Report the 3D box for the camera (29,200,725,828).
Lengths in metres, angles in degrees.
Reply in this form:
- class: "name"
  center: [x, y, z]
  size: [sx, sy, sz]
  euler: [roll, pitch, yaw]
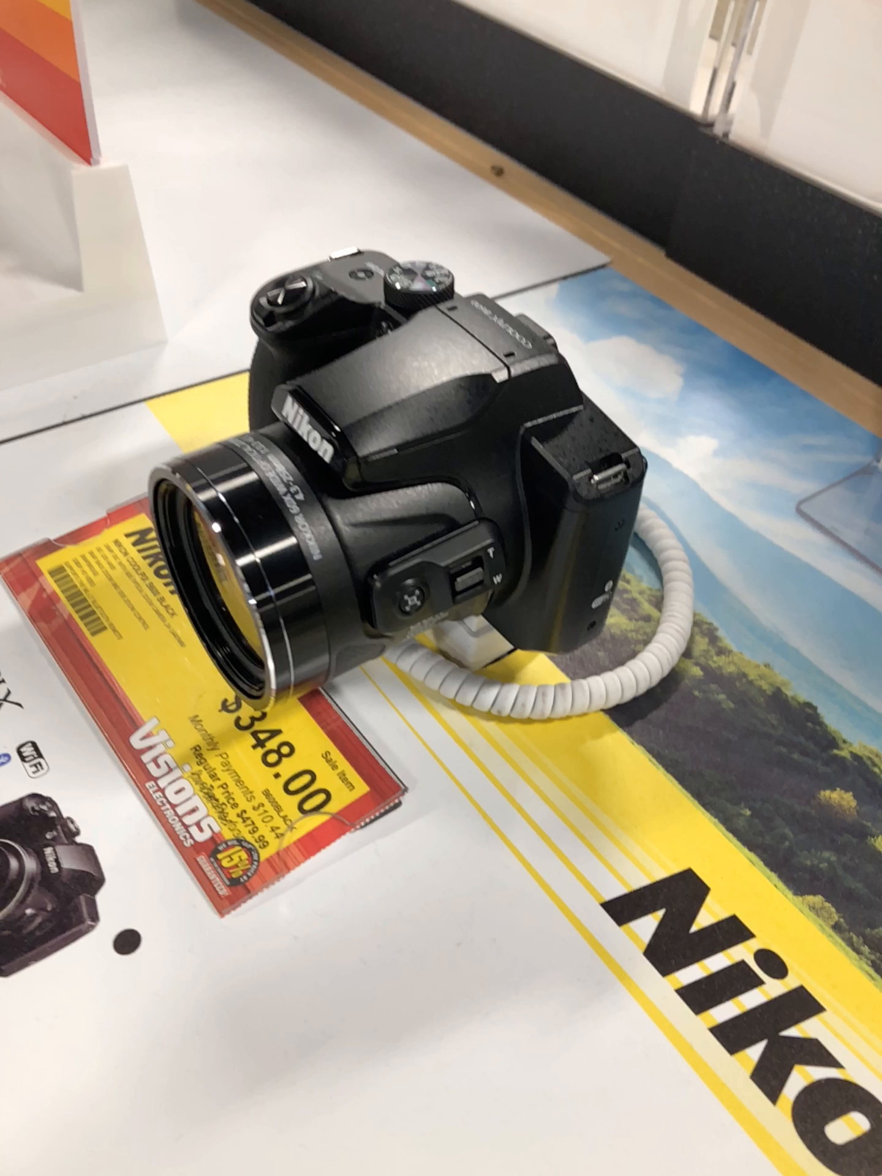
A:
- class: "camera"
  center: [-0.022, -0.031, 0.252]
  size: [0.110, 0.070, 0.131]
  euler: [-23, 51, -27]
